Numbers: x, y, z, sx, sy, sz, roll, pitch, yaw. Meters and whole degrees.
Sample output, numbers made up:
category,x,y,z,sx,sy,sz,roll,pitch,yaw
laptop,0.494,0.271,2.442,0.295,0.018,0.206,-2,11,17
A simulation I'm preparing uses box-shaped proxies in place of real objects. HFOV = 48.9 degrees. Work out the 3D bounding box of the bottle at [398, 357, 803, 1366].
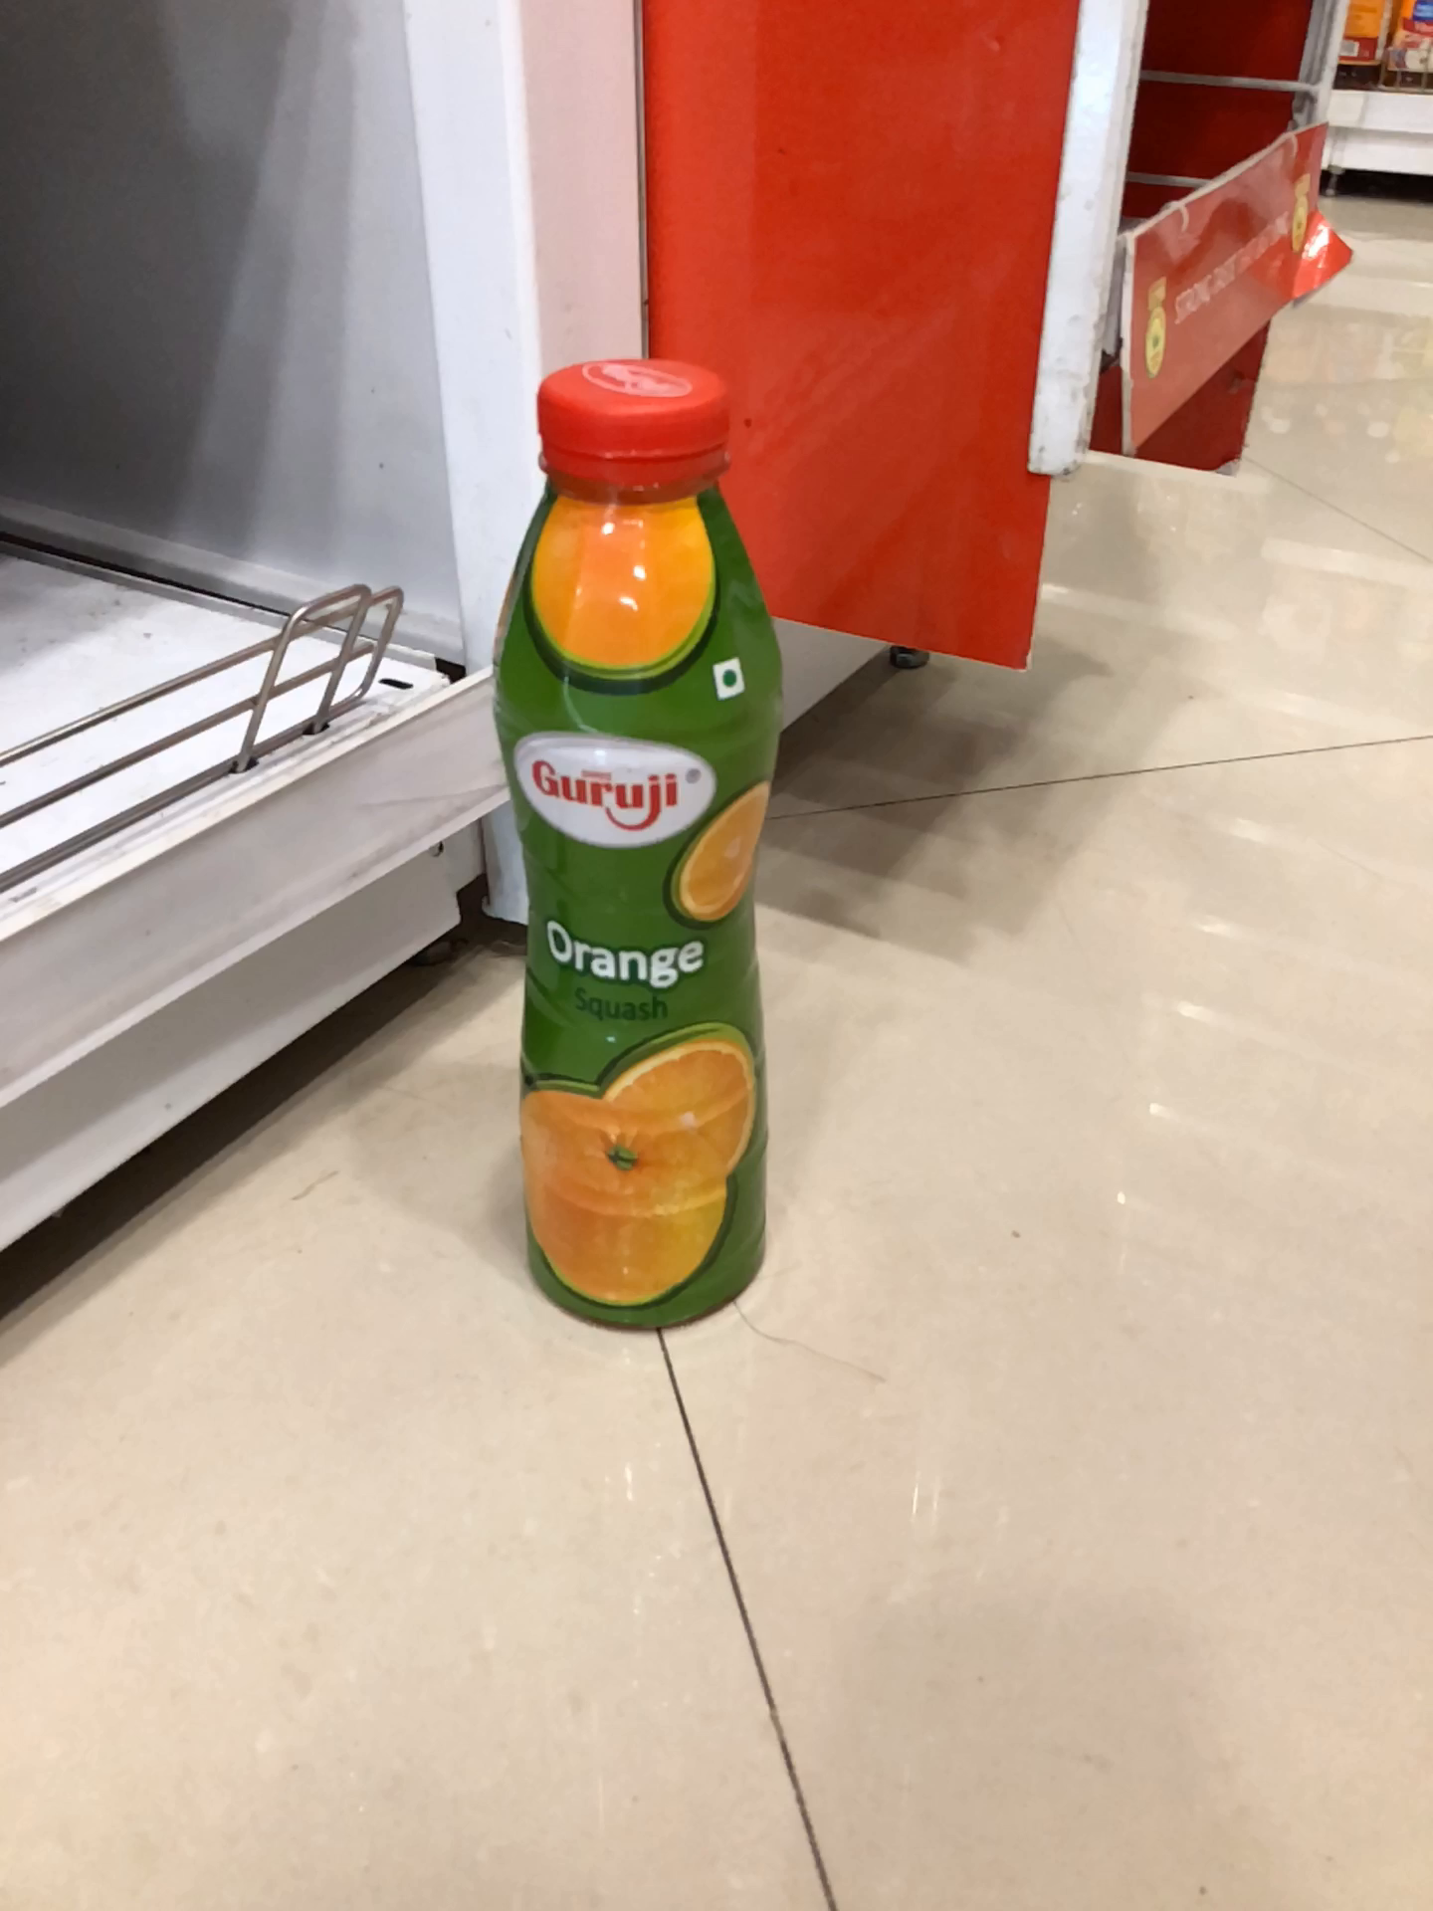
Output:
category,x,y,z,sx,sy,sz,roll,pitch,yaw
bottle,-0.020,-0.012,0.385,0.070,0.238,0.071,0,34,0
